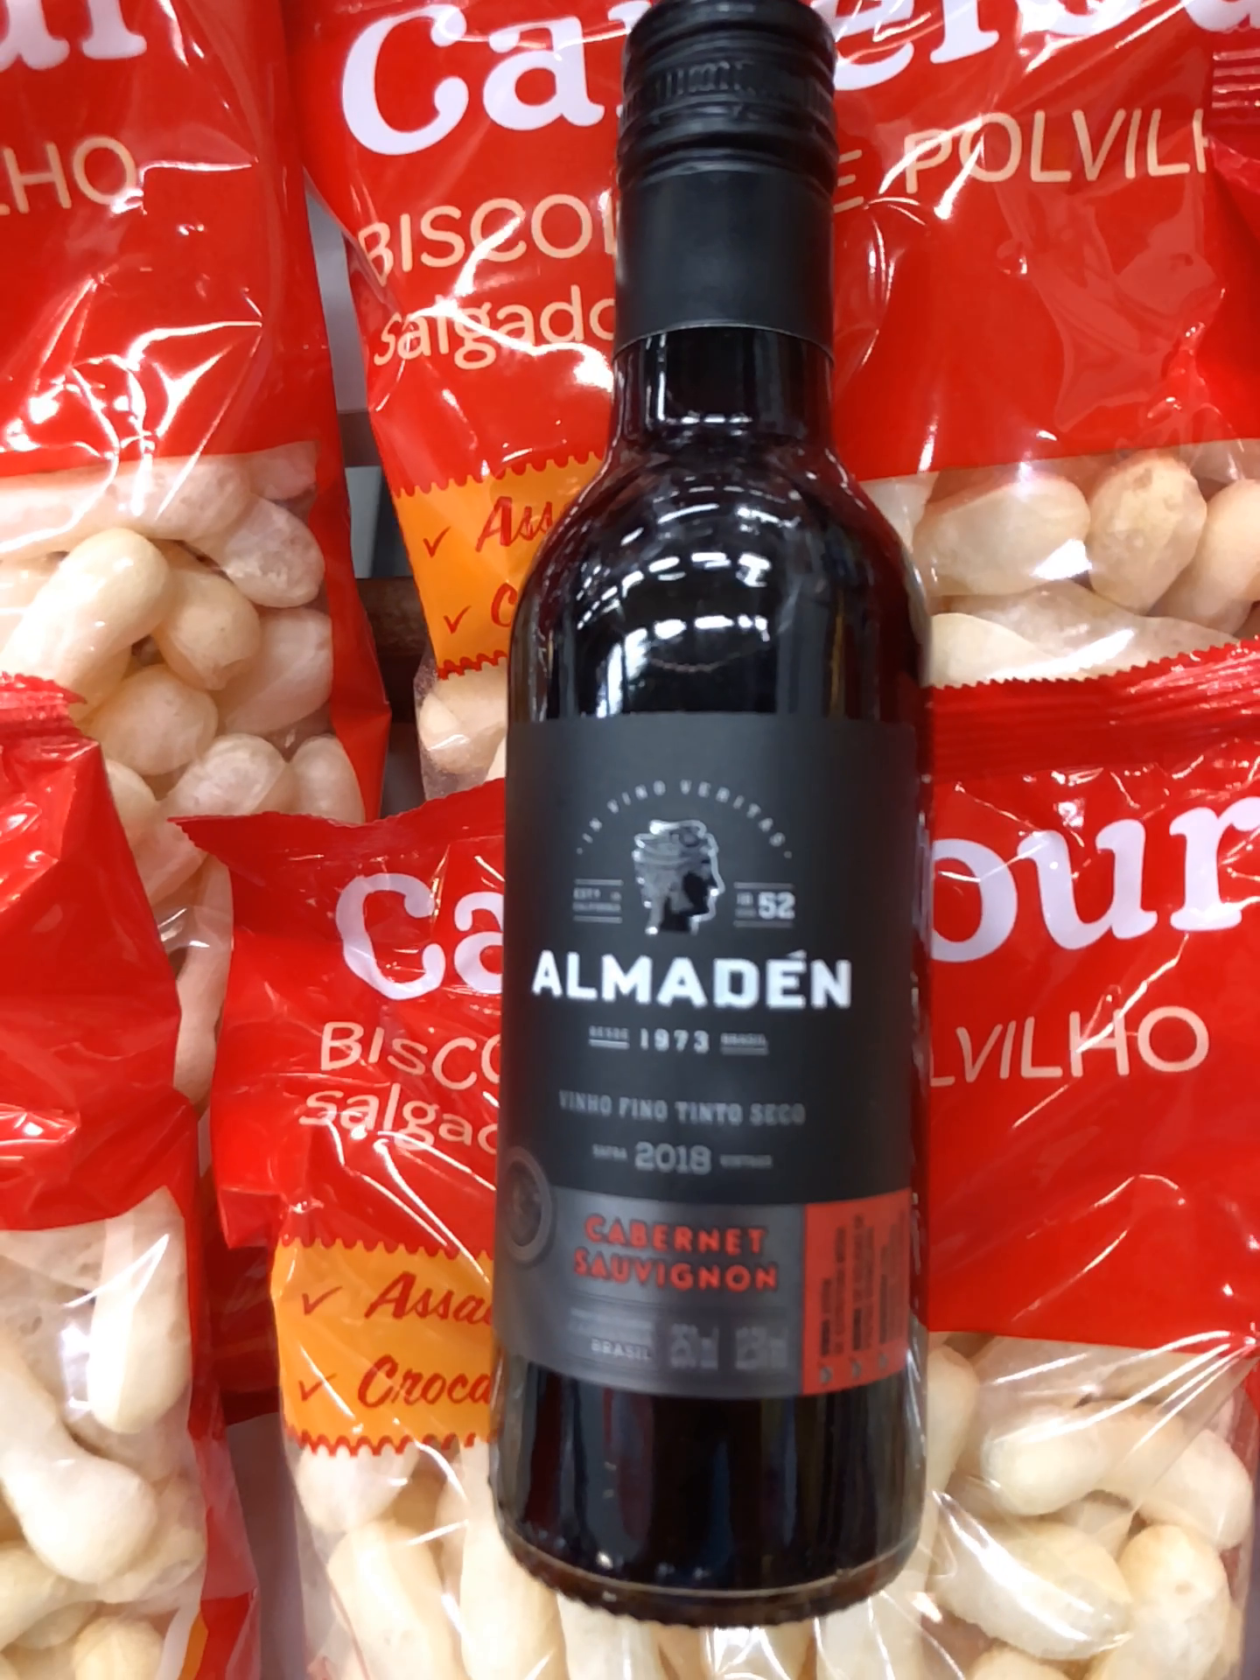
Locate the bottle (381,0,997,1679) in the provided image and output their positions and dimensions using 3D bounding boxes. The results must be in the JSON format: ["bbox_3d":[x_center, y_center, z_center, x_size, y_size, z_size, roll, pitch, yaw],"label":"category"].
[{"bbox_3d":[0.013,-0.022,0.187,0.060,0.060,0.240,2,83,10],"label":"bottle"}]
